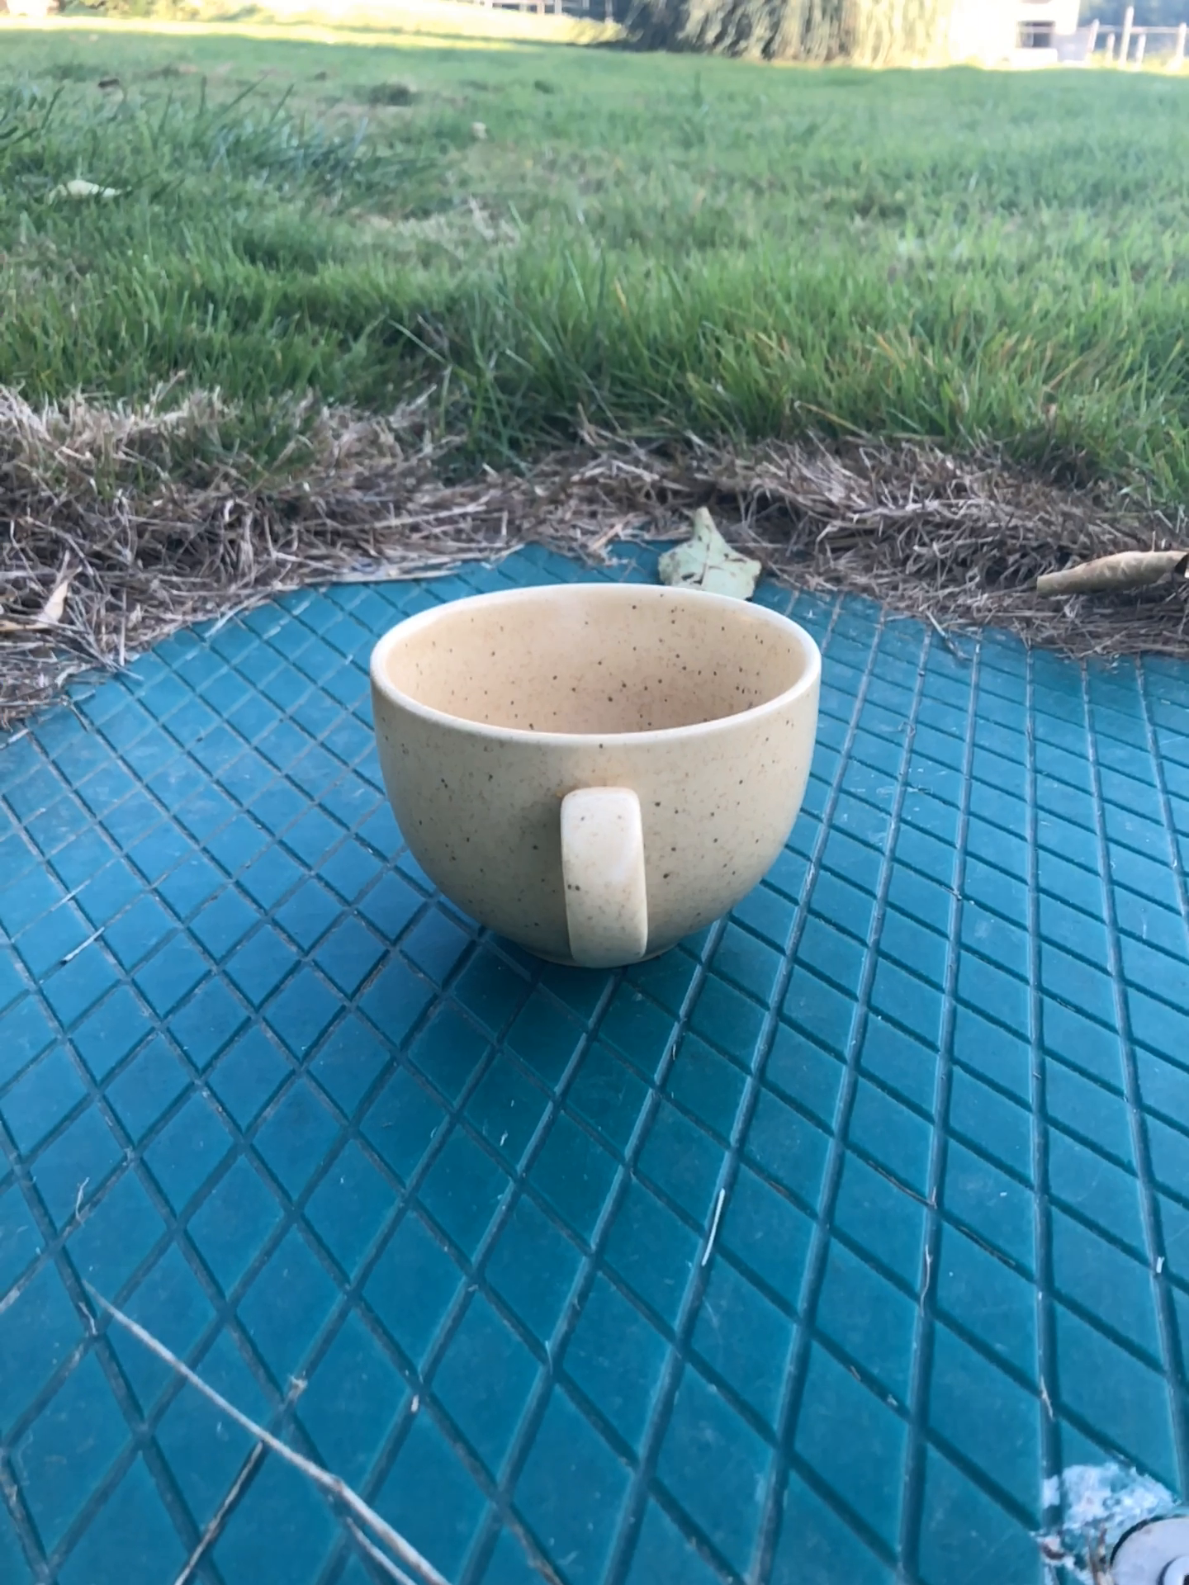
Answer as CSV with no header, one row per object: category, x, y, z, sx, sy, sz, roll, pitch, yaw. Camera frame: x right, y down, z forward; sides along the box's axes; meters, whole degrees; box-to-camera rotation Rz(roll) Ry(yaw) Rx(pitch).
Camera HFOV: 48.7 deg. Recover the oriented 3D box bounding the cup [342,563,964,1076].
cup,0.008,-0.003,0.337,0.124,0.065,0.143,-3,28,-4
